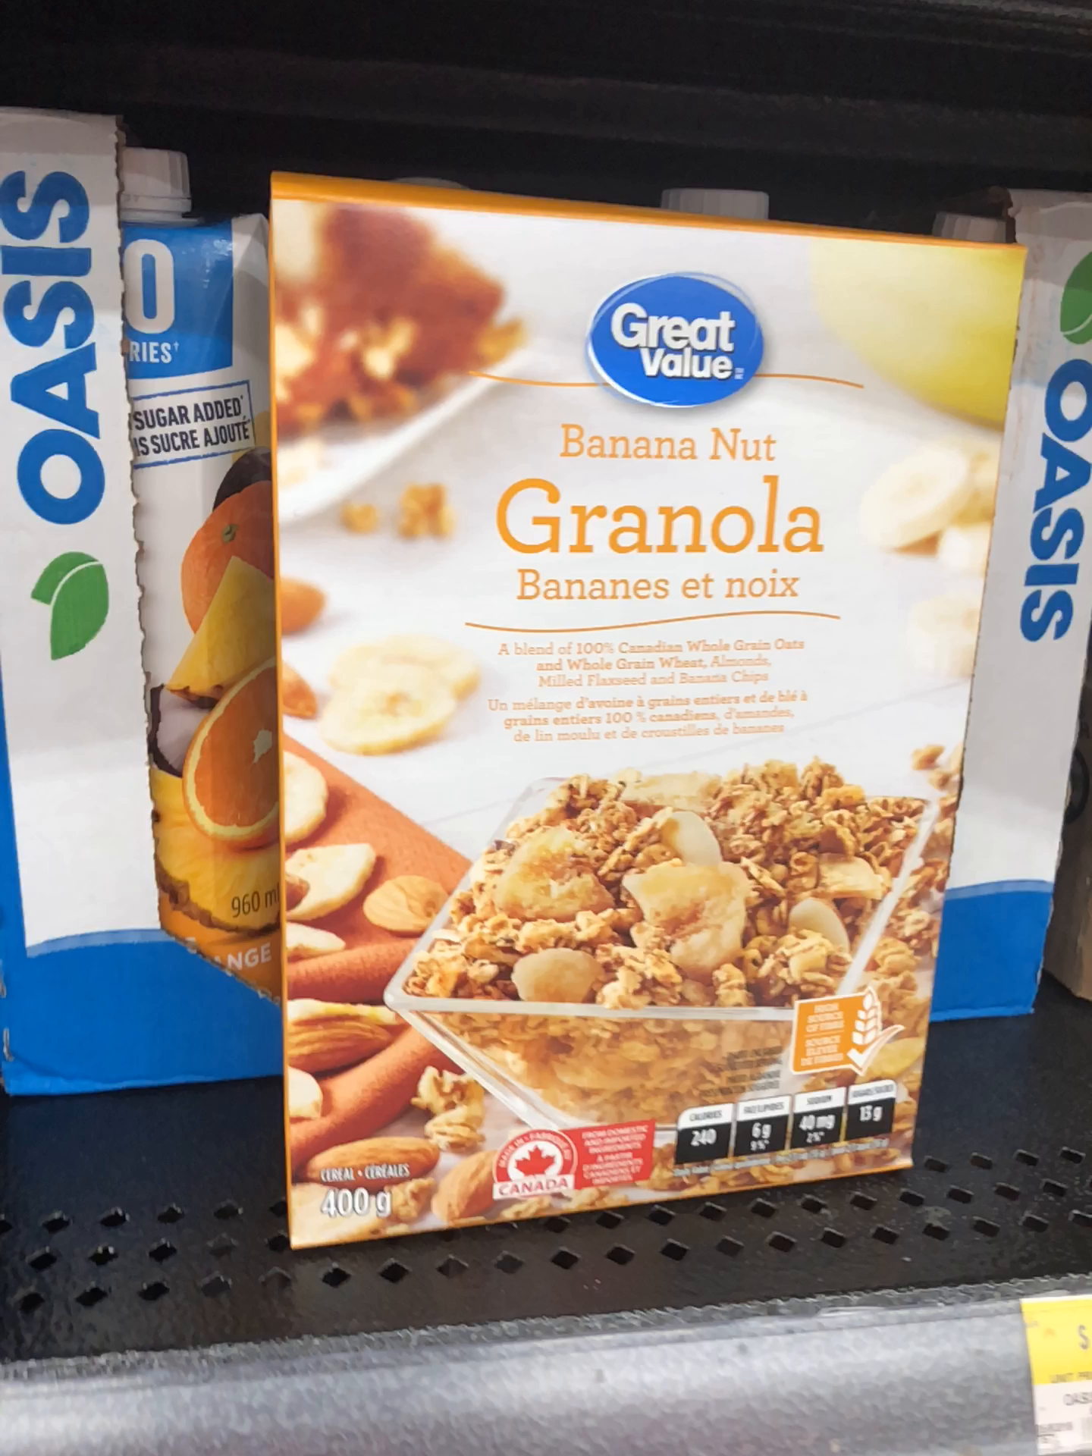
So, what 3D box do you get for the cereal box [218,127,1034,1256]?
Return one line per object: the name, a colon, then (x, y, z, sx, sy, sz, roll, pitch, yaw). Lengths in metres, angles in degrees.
cereal box: (0.010, -0.005, 0.281, 0.160, 0.219, 0.060, -2, 14, -15)
